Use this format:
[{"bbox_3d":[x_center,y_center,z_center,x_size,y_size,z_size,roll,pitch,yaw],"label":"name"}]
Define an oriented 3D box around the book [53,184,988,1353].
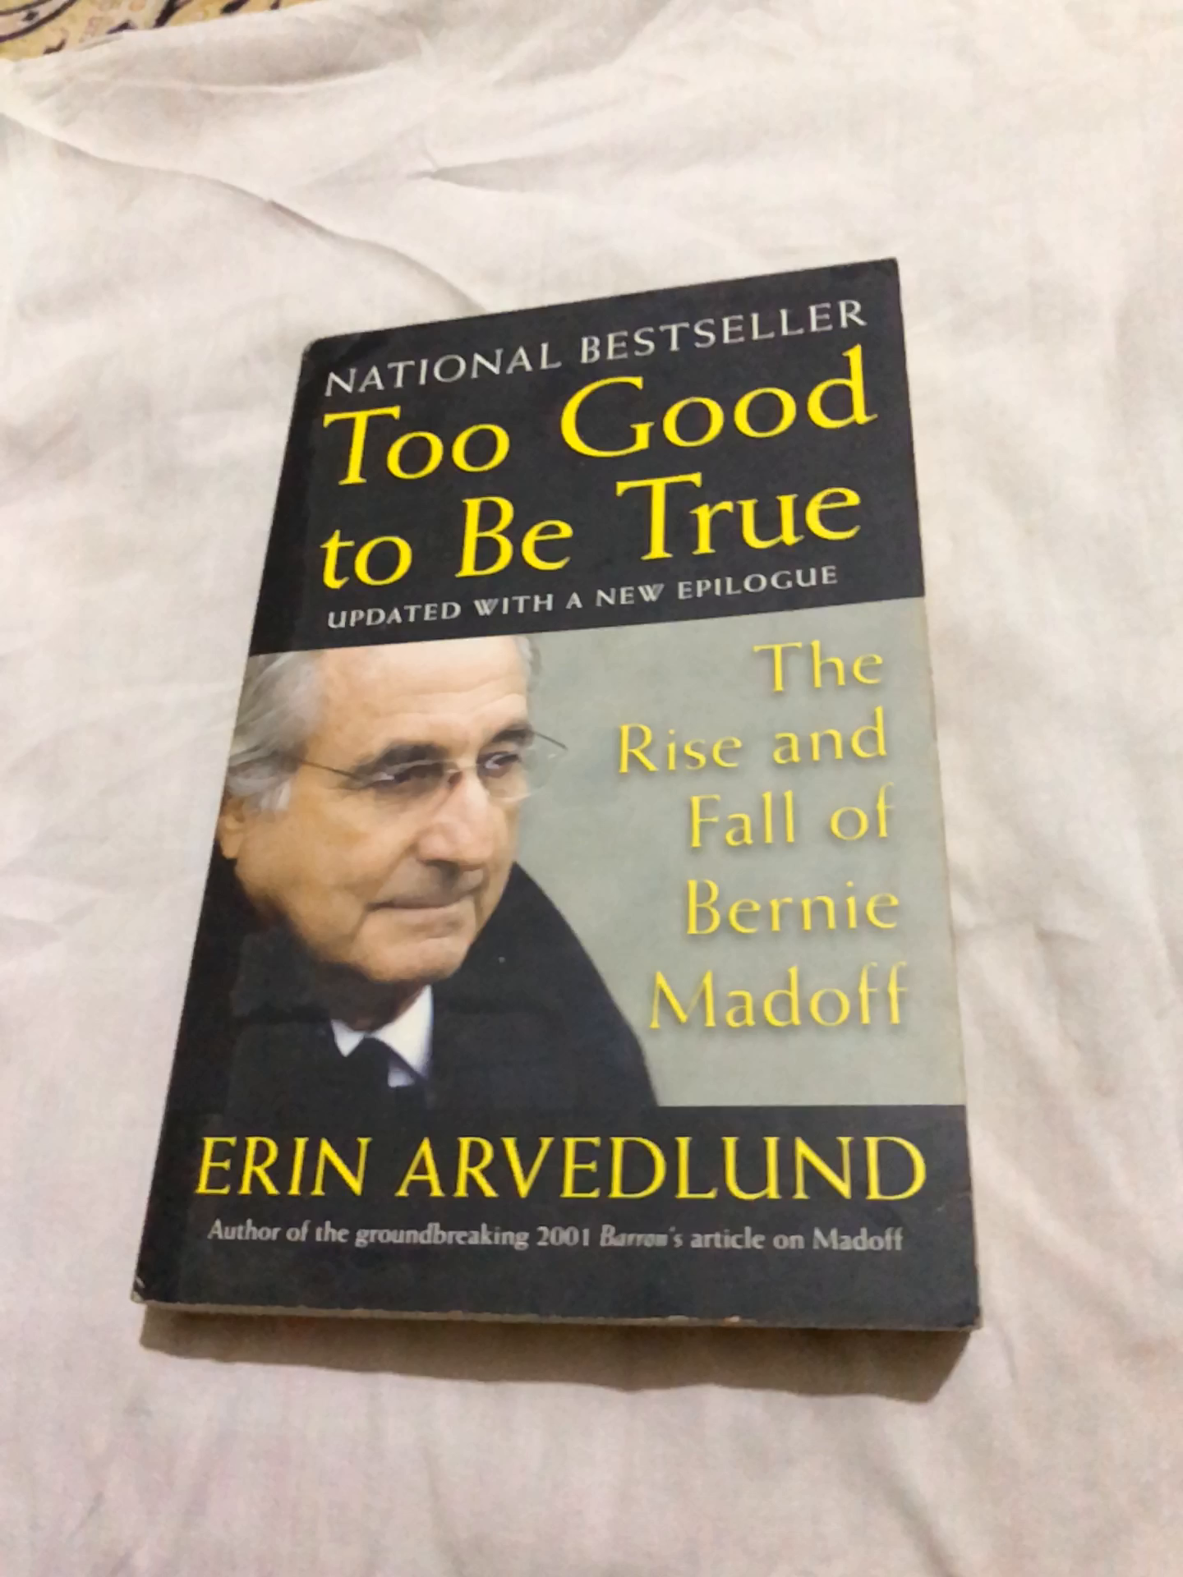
[{"bbox_3d":[-0.009,-0.015,0.266,0.150,0.030,0.230,-4,64,14],"label":"book"}]
